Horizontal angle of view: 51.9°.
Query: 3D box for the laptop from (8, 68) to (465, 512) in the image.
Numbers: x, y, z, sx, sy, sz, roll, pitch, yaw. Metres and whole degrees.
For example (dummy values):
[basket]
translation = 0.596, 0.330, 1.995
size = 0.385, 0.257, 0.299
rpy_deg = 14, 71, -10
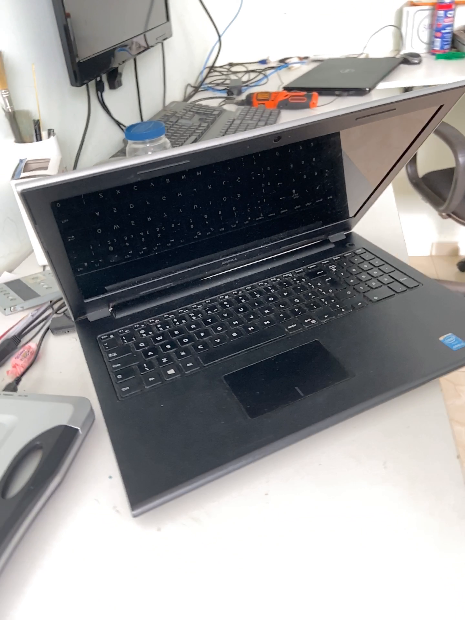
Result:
[laptop]
translation = 0.037, -0.064, 0.432
size = 0.374, 0.204, 0.258
rpy_deg = -19, 37, -18
